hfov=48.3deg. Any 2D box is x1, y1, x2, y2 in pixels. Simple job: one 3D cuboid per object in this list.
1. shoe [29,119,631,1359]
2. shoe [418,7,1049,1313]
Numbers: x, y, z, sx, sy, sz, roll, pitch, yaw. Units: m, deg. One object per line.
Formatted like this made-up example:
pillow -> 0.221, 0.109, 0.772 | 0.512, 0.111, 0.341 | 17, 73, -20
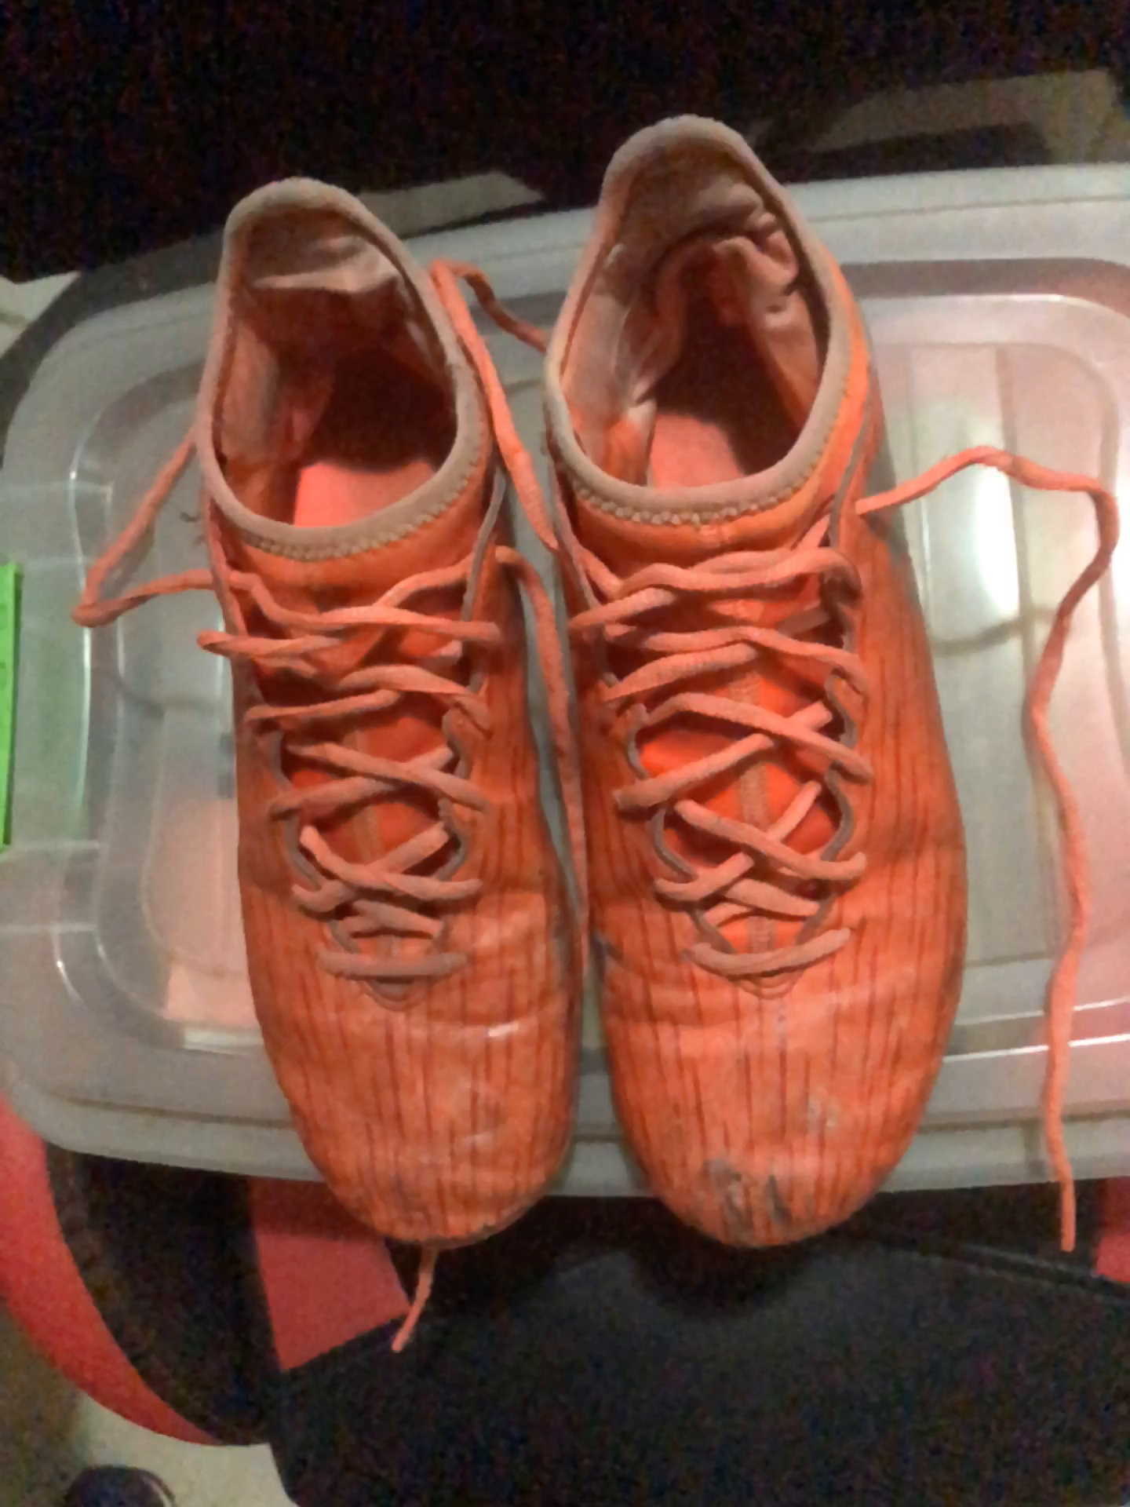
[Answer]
shoe -> -0.050, 0.001, 0.314 | 0.090, 0.130, 0.240 | -7, 80, 10
shoe -> 0.038, -0.014, 0.300 | 0.090, 0.130, 0.240 | -7, 80, 10
